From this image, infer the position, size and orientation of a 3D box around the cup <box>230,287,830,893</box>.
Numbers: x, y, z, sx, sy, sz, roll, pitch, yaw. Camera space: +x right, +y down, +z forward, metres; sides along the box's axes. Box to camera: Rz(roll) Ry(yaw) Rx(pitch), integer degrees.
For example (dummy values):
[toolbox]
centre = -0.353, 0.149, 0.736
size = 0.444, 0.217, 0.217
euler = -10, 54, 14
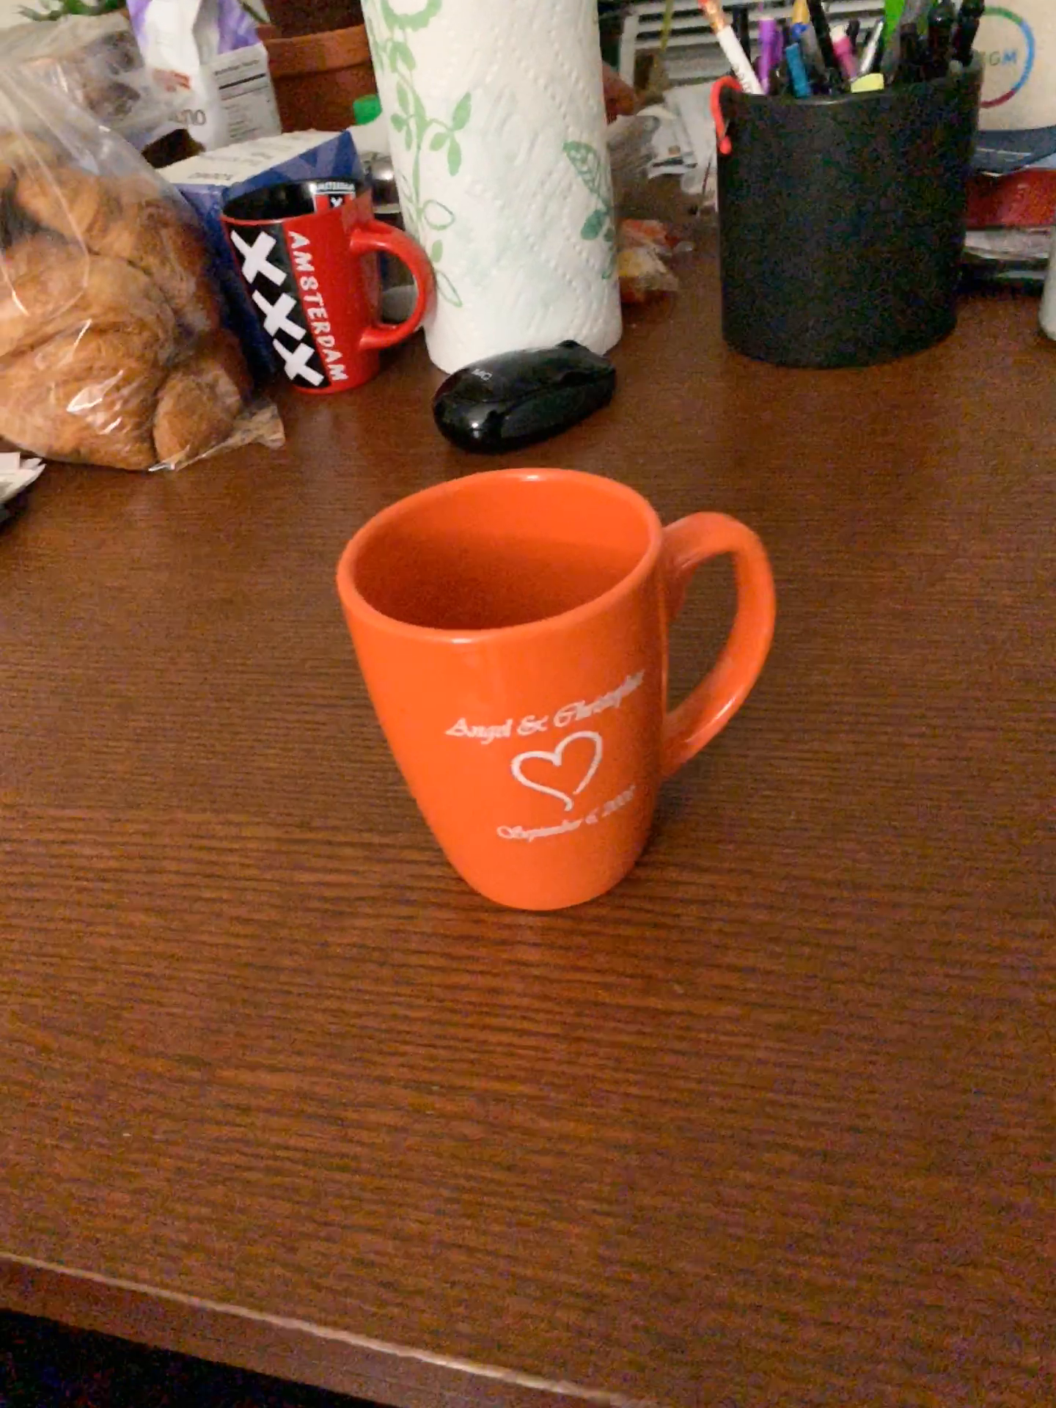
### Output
[cup]
centre = 0.002, -0.040, 0.323
size = 0.130, 0.109, 0.101
euler = -22, 40, -16
